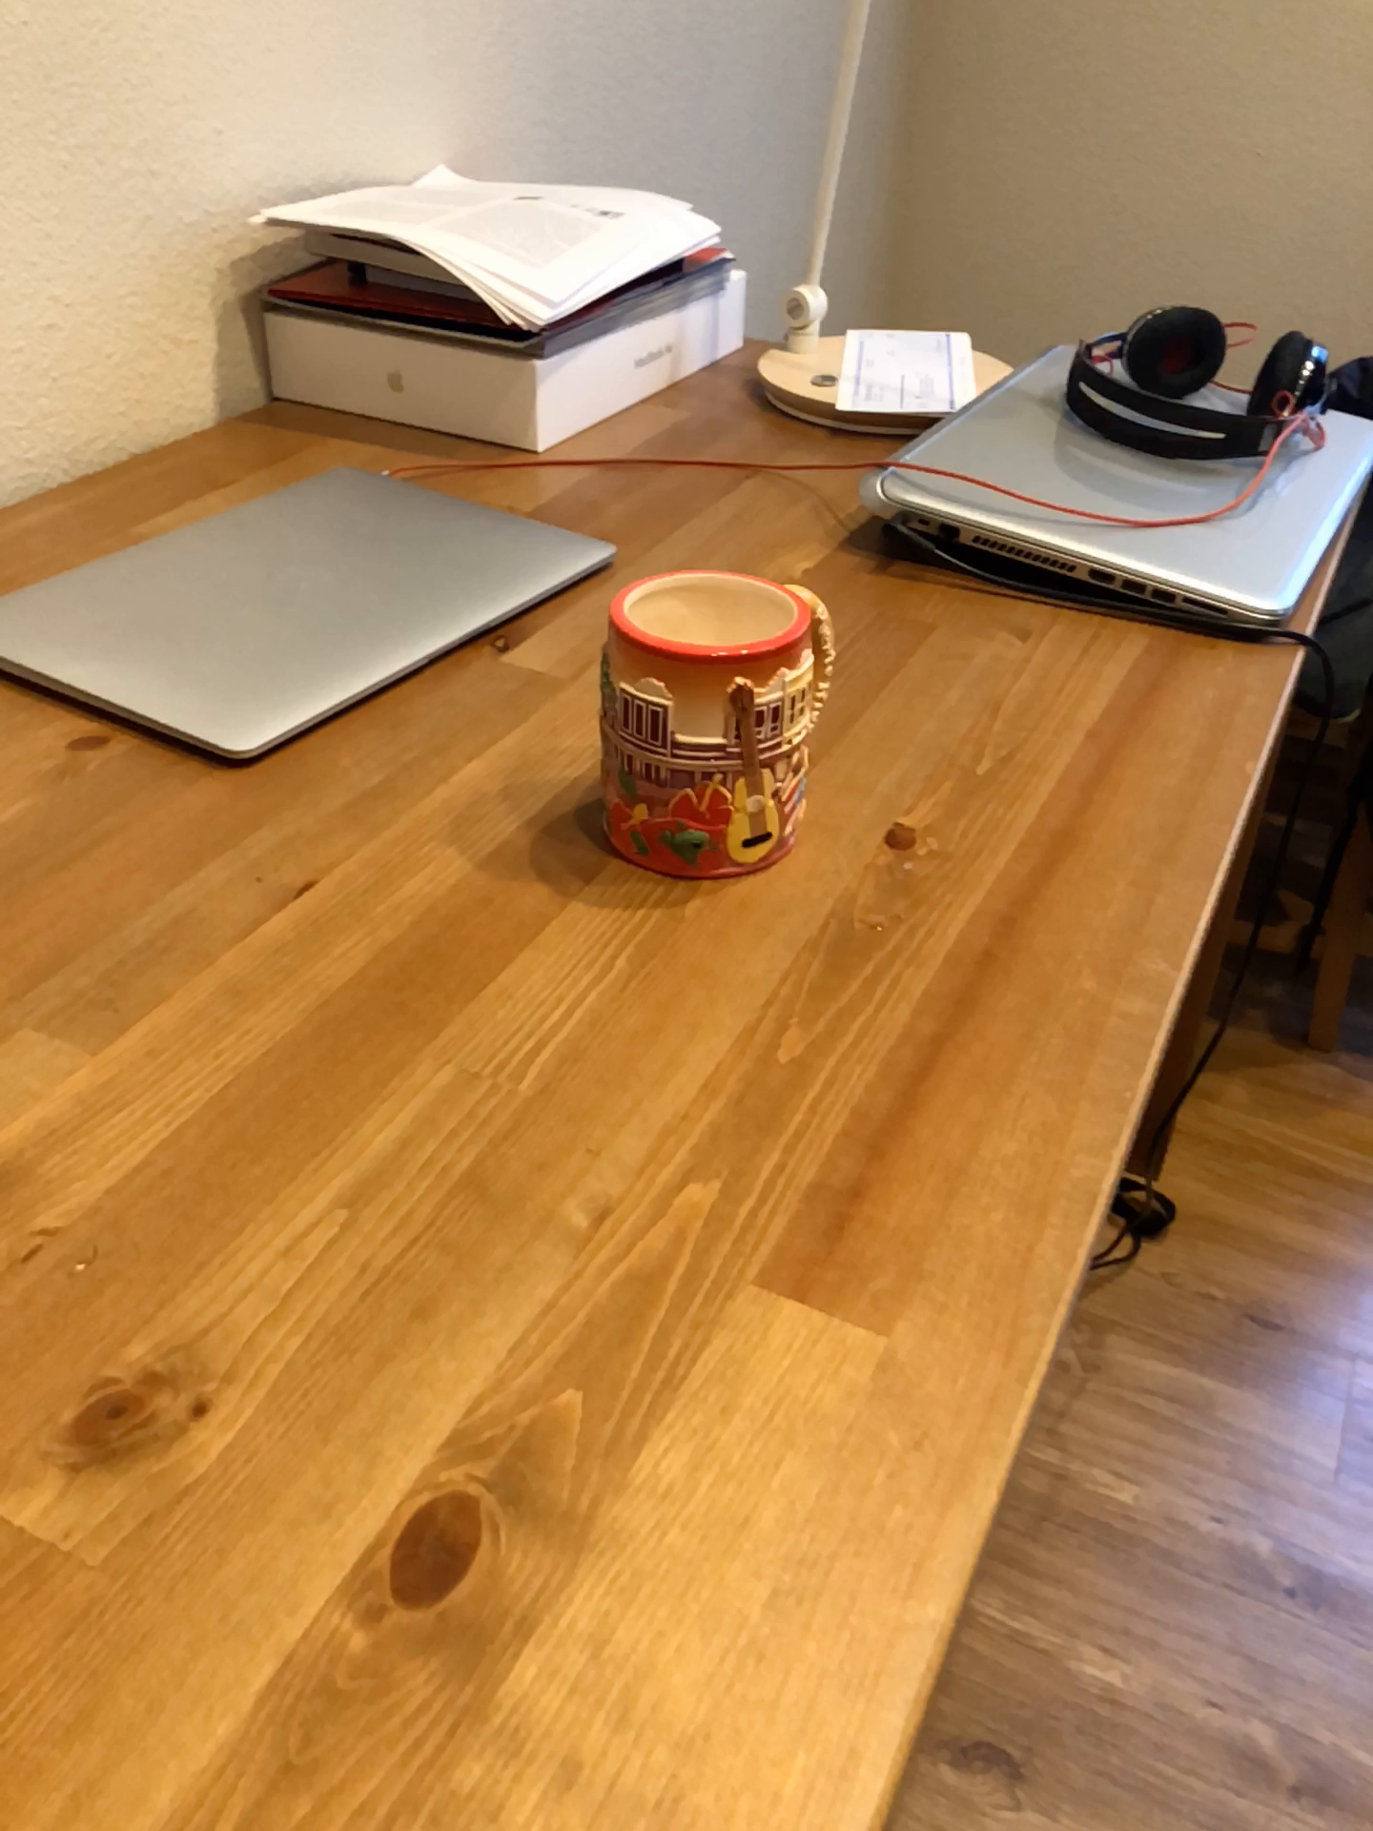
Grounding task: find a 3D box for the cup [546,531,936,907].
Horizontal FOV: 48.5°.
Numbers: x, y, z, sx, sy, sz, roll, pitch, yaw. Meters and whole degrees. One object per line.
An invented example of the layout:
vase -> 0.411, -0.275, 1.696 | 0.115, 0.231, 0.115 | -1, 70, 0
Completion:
cup -> 0.022, -0.085, 0.620 | 0.090, 0.090, 0.130 | 28, 42, 32
